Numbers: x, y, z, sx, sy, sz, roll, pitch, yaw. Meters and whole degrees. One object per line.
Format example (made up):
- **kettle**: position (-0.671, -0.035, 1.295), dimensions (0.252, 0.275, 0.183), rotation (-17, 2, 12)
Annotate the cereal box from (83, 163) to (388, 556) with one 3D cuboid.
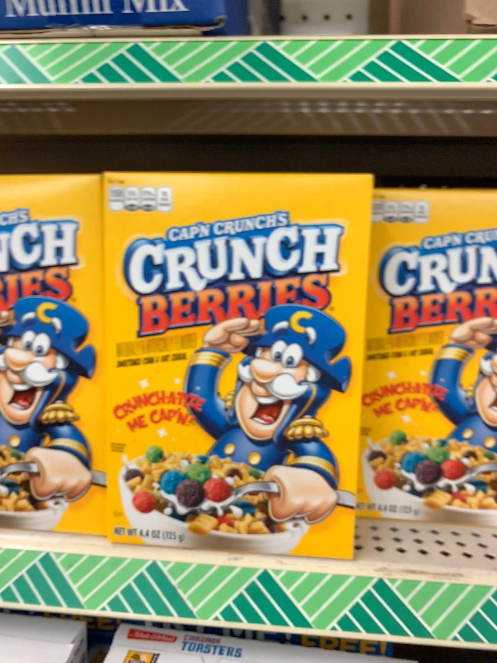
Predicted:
- **cereal box**: position (-0.008, 0.013, 0.295), dimensions (0.150, 0.200, 0.050), rotation (2, 7, 5)
